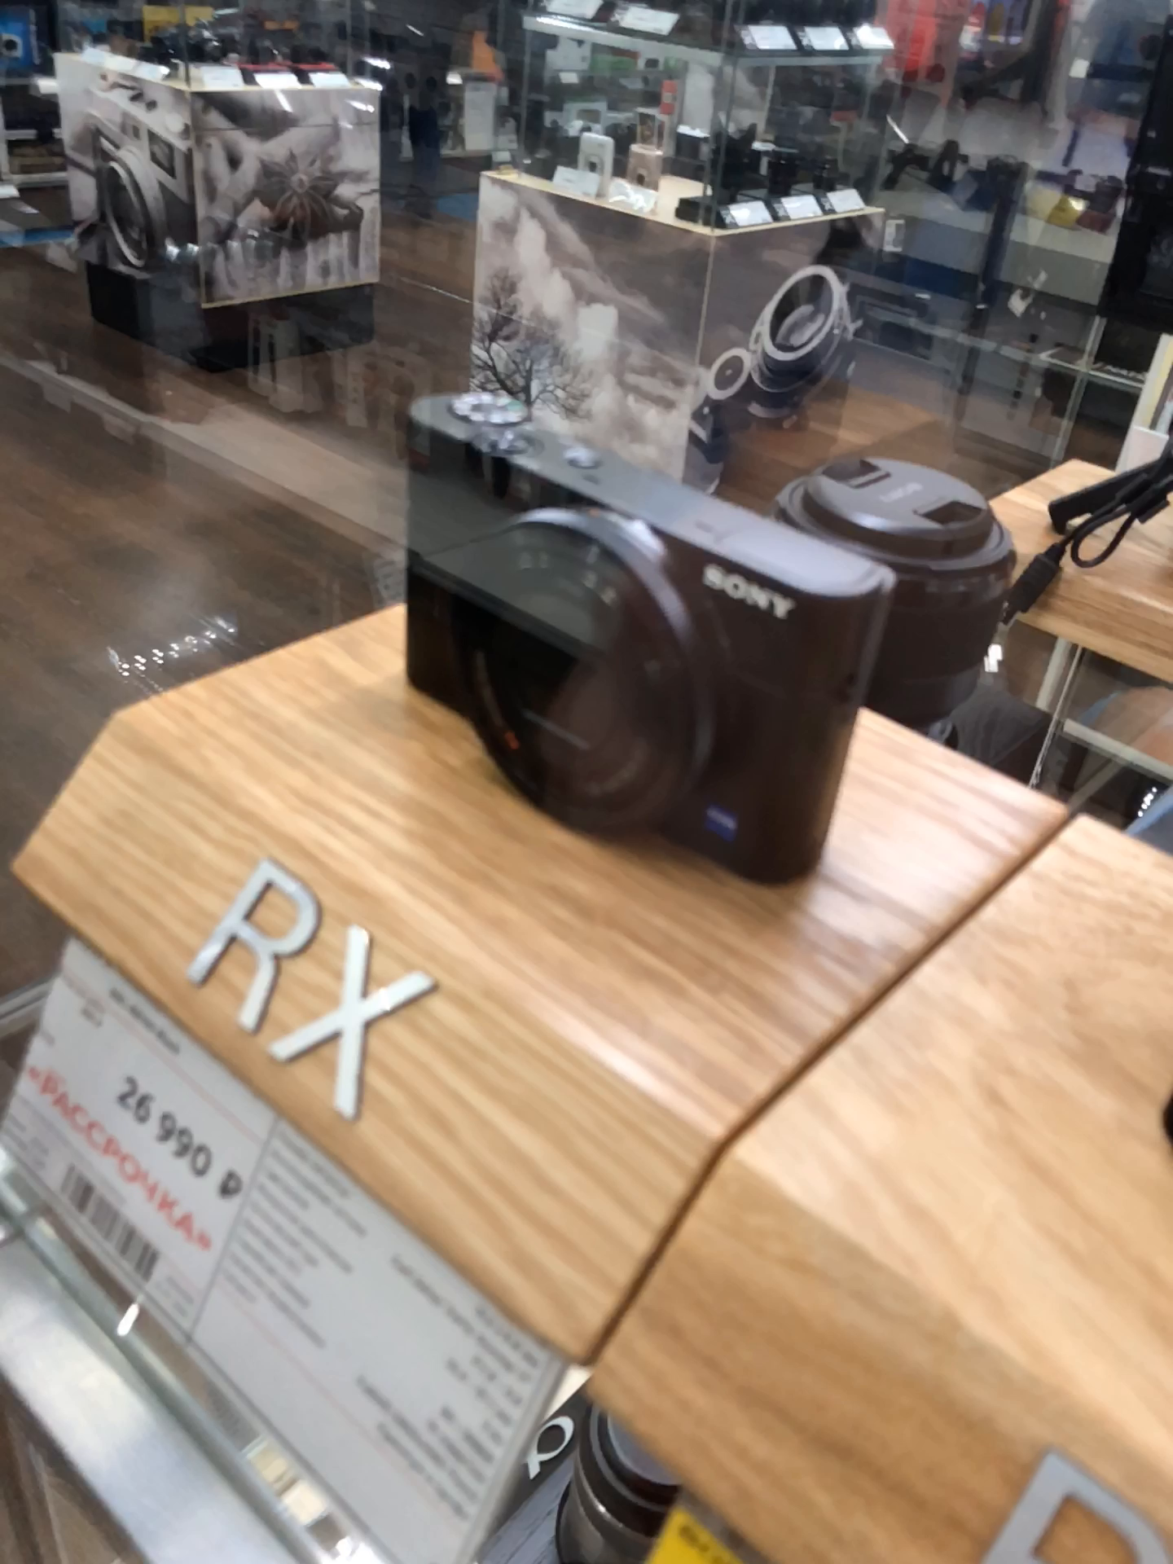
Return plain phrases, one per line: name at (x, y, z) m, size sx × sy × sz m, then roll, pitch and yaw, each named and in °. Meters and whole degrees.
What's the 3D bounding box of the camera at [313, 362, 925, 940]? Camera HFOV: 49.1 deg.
camera at (-0.001, -0.029, 0.236) m, size 0.106 × 0.062 × 0.037 m, roll 30°, pitch 40°, yaw 31°
